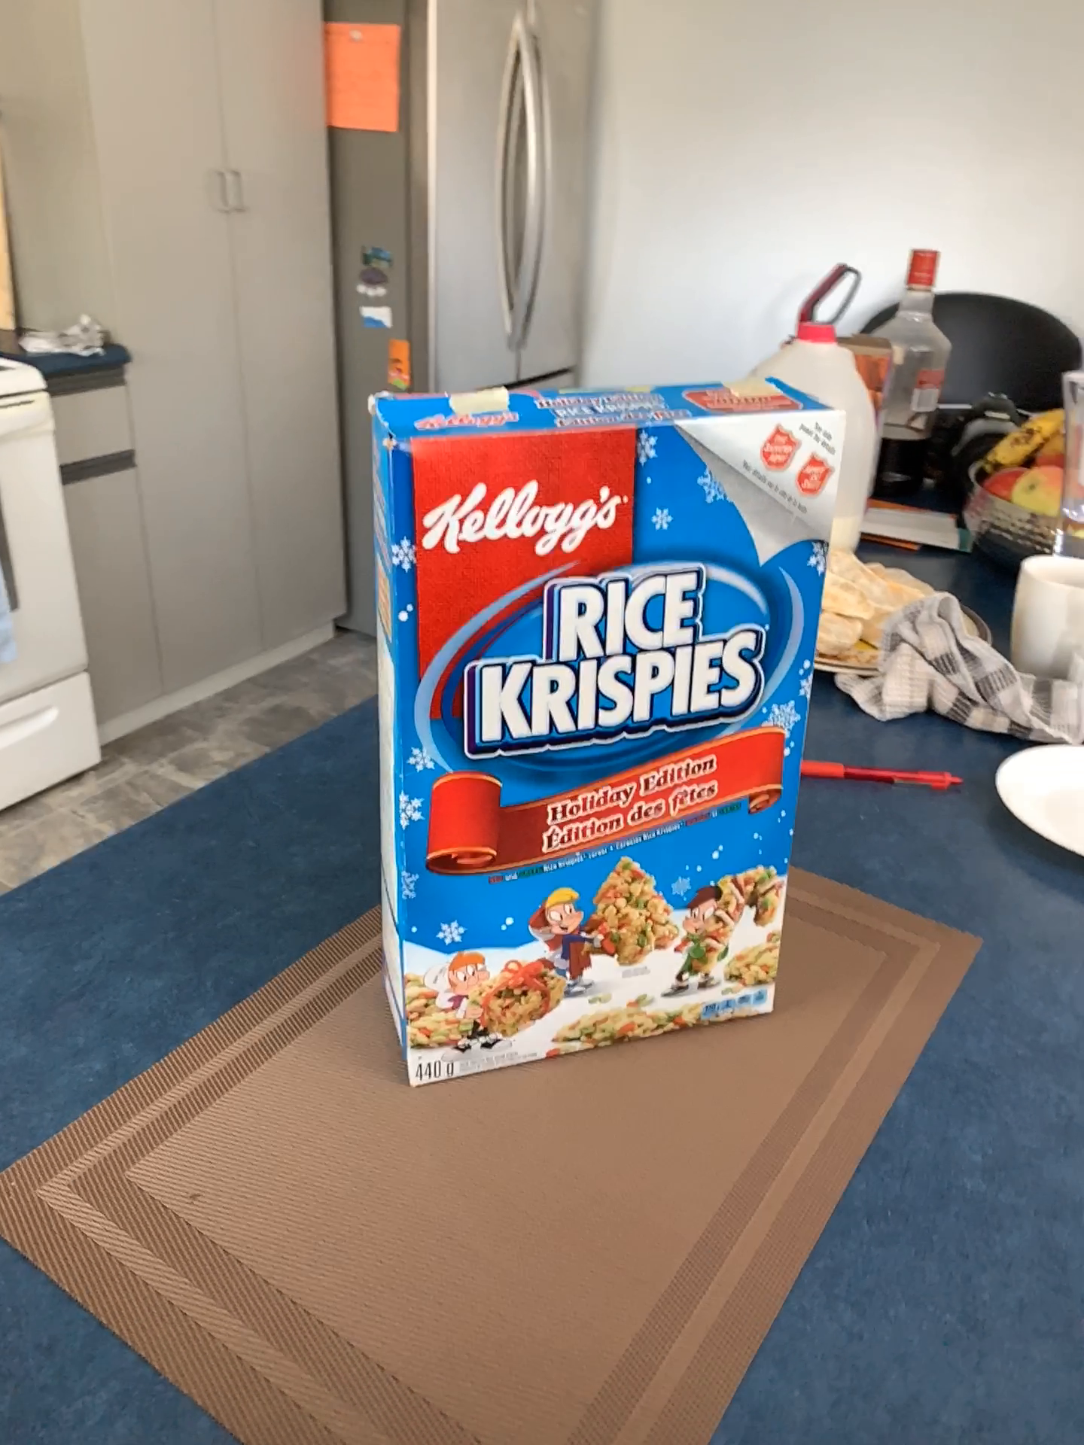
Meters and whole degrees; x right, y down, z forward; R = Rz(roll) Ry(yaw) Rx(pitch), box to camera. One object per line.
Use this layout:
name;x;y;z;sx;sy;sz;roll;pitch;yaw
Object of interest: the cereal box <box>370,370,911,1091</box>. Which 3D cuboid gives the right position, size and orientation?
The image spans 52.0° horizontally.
cereal box;0.038;0.004;0.549;0.220;0.327;0.081;-7;26;-18
